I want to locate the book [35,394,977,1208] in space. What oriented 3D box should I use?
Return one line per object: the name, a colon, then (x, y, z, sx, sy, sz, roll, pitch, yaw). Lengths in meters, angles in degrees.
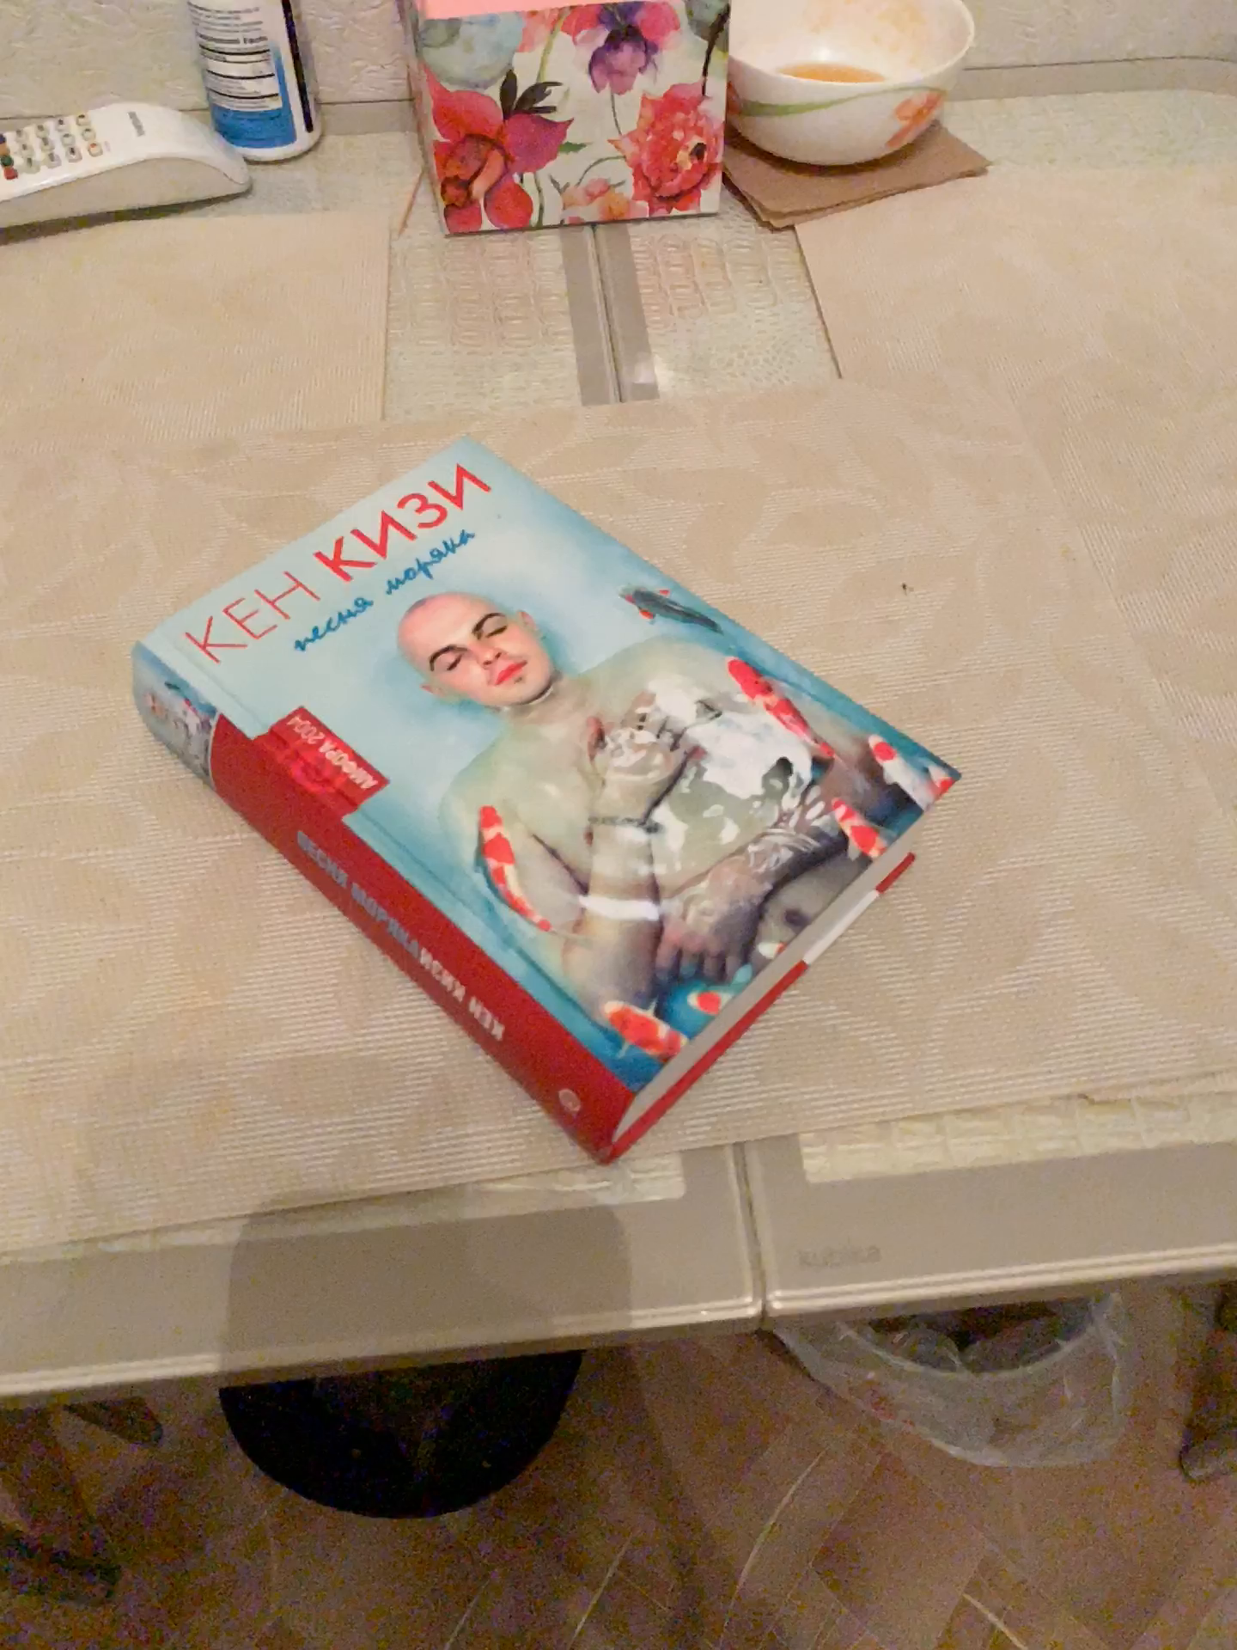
book: (-0.035, -0.025, 0.355, 0.211, 0.040, 0.151, 38, 63, 24)
